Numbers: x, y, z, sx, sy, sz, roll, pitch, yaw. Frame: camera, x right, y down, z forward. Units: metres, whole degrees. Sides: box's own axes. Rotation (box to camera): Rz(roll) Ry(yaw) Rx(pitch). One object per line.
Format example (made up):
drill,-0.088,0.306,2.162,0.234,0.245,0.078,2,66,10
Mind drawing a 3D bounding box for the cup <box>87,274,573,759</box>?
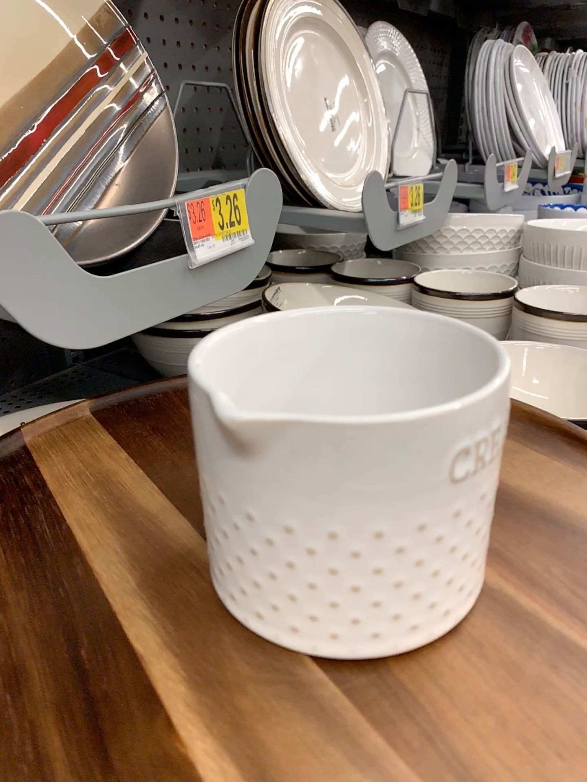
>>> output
cup,0.023,0.022,0.228,0.100,0.090,0.150,18,30,35
